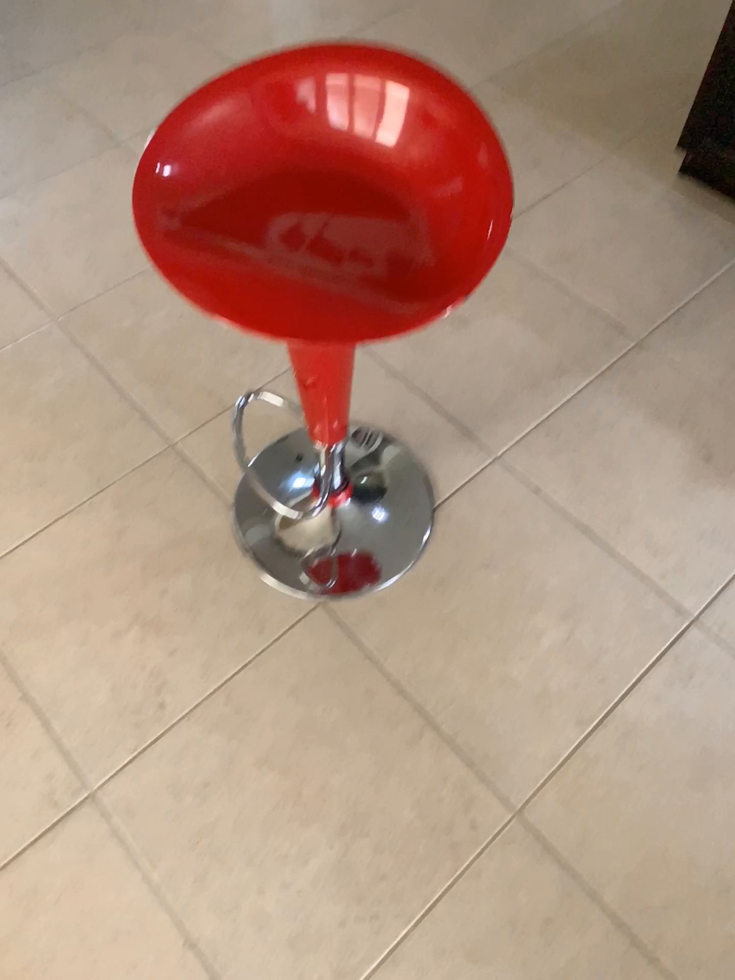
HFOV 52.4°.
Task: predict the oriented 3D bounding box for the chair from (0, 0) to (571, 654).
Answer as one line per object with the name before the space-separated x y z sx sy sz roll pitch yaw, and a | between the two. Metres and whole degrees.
chair | -0.074 -0.171 1.087 0.438 0.727 0.434 26 61 15
